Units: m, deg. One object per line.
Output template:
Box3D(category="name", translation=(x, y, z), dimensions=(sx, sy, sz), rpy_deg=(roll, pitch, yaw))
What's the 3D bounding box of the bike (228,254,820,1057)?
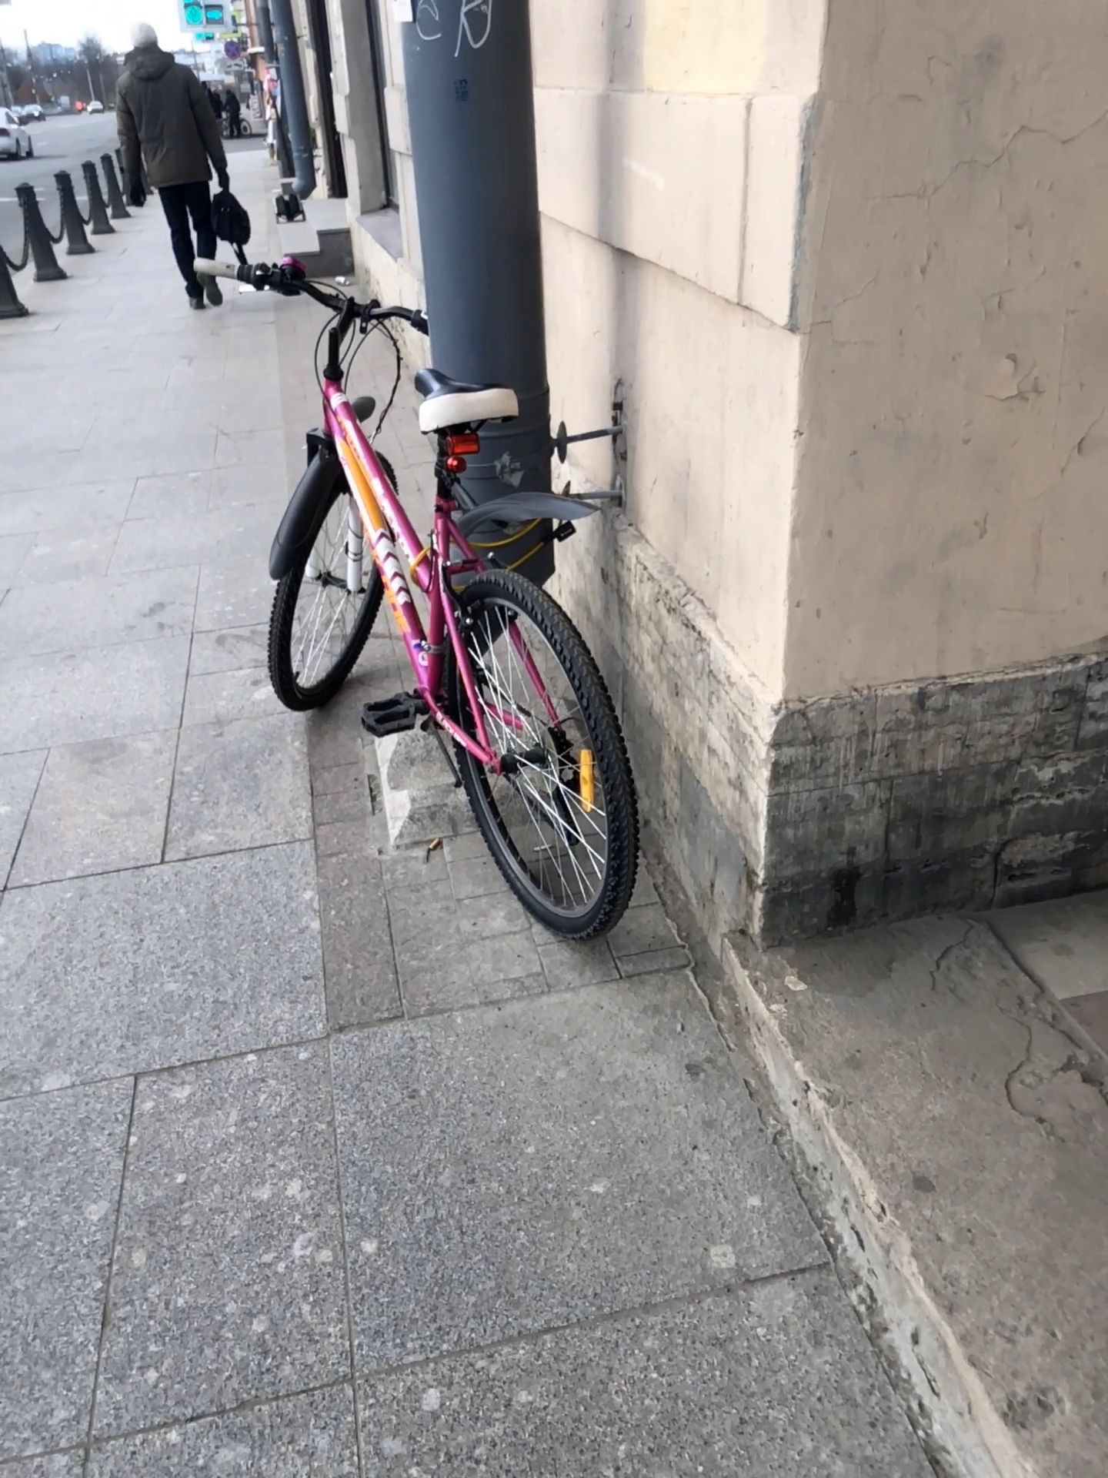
Box3D(category="bike", translation=(-0.169, -0.354, 2.362), dimensions=(0.622, 0.974, 1.582), rpy_deg=(-12, 28, -17))
